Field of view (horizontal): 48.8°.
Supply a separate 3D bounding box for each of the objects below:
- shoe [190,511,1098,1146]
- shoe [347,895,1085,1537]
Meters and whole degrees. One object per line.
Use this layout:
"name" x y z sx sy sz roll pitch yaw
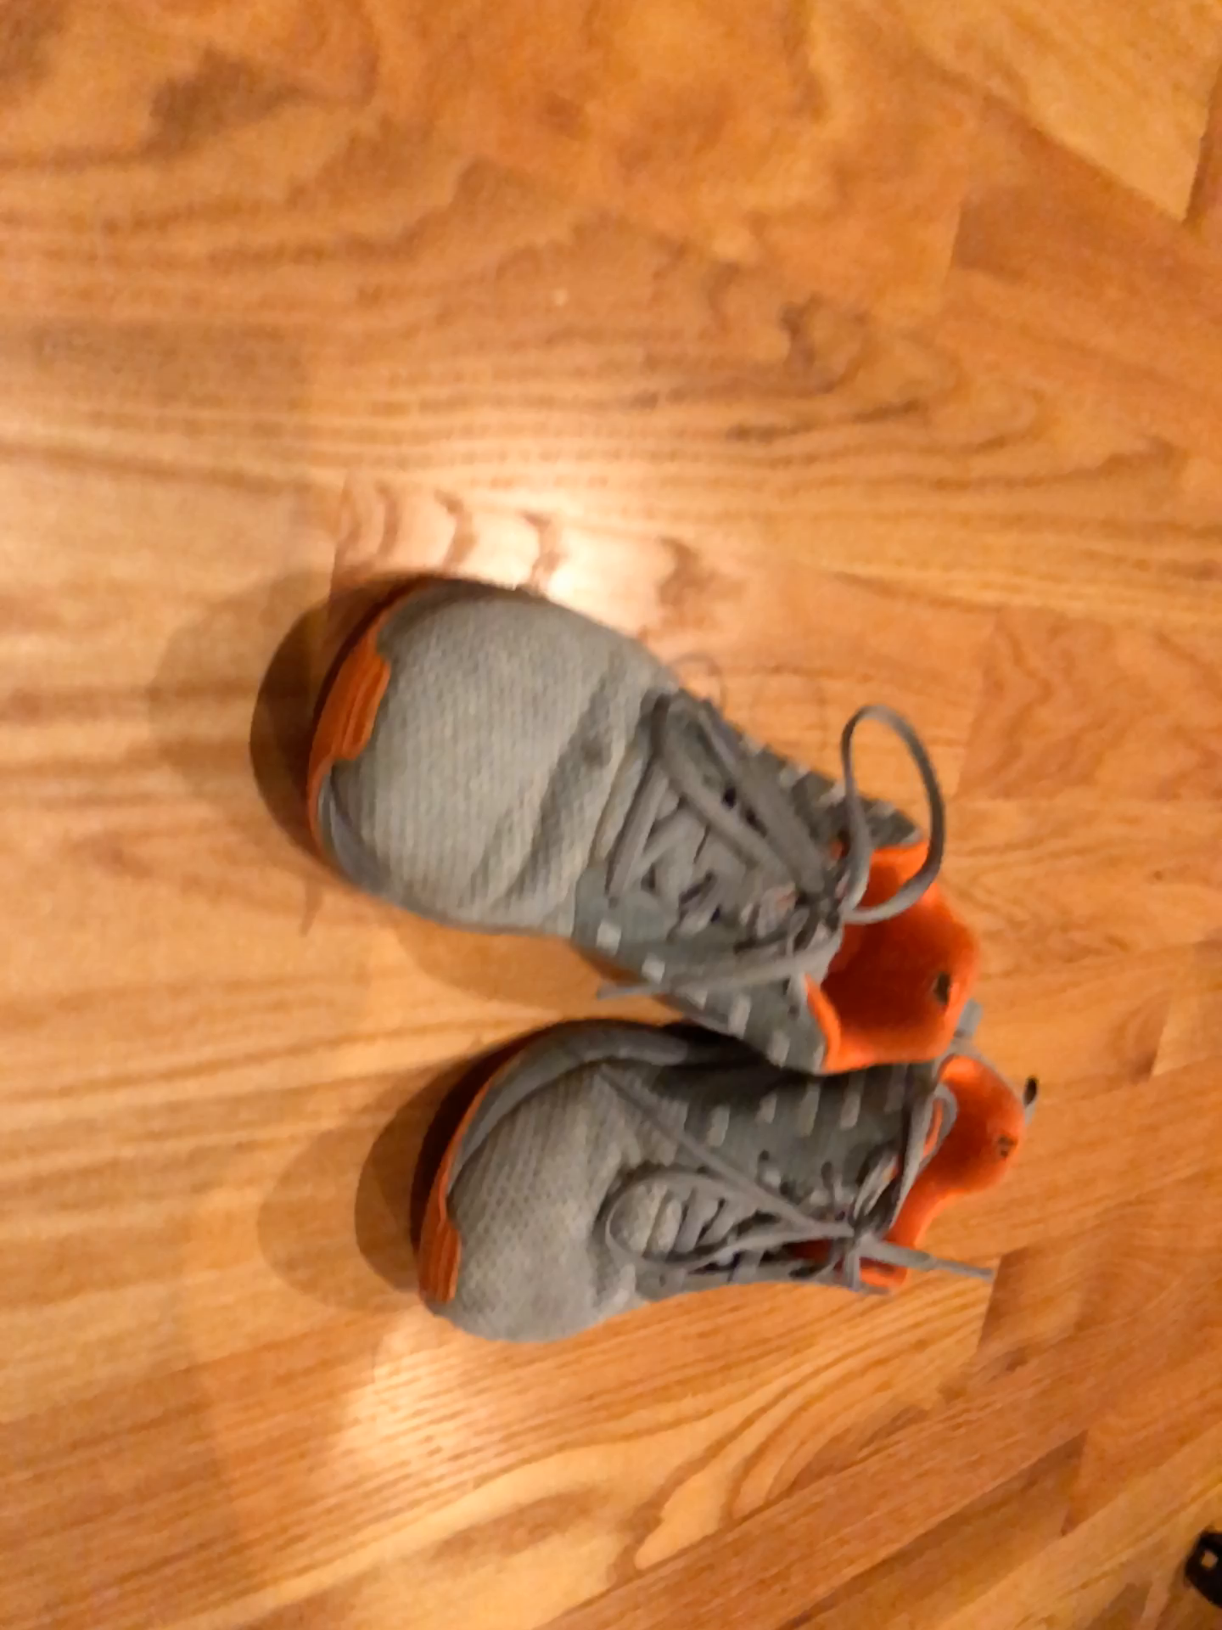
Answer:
"shoe" 0.028 0.017 0.392 0.251 0.100 0.100 22 90 -45
"shoe" 0.046 0.110 0.445 0.251 0.080 0.110 -9 111 -41
